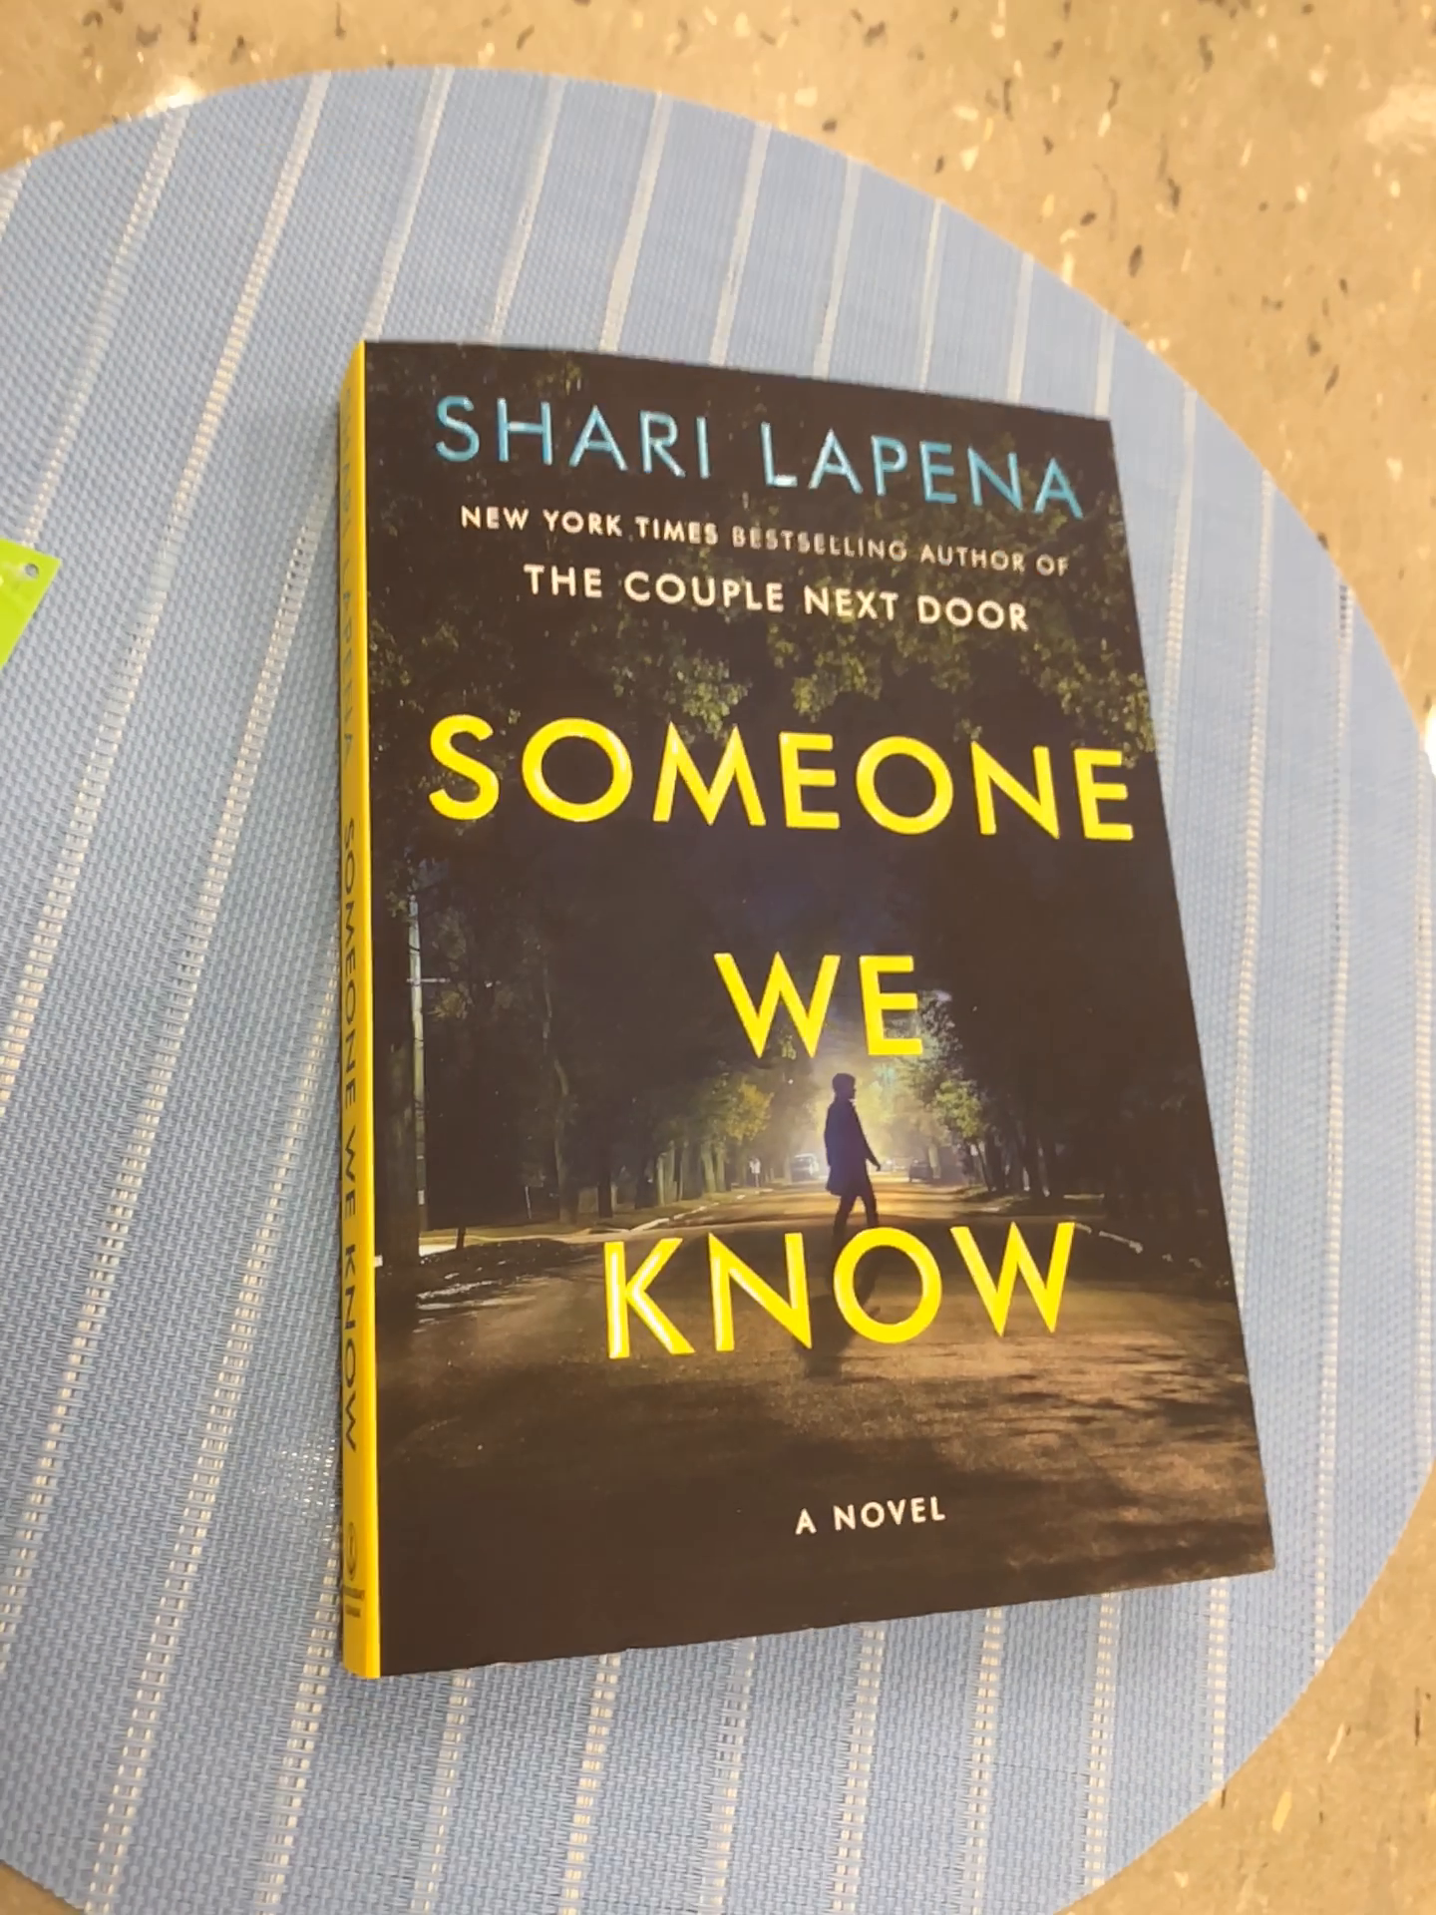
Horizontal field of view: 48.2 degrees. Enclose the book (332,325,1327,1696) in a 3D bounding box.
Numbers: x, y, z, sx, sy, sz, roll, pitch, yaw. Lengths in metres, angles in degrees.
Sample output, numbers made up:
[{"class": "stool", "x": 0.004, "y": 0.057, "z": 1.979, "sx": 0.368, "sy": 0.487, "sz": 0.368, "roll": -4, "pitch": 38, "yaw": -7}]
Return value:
[{"class": "book", "x": 0.014, "y": 0.001, "z": 0.292, "sx": 0.161, "sy": 0.030, "sz": 0.224, "roll": 0, "pitch": 74, "yaw": -17}]
